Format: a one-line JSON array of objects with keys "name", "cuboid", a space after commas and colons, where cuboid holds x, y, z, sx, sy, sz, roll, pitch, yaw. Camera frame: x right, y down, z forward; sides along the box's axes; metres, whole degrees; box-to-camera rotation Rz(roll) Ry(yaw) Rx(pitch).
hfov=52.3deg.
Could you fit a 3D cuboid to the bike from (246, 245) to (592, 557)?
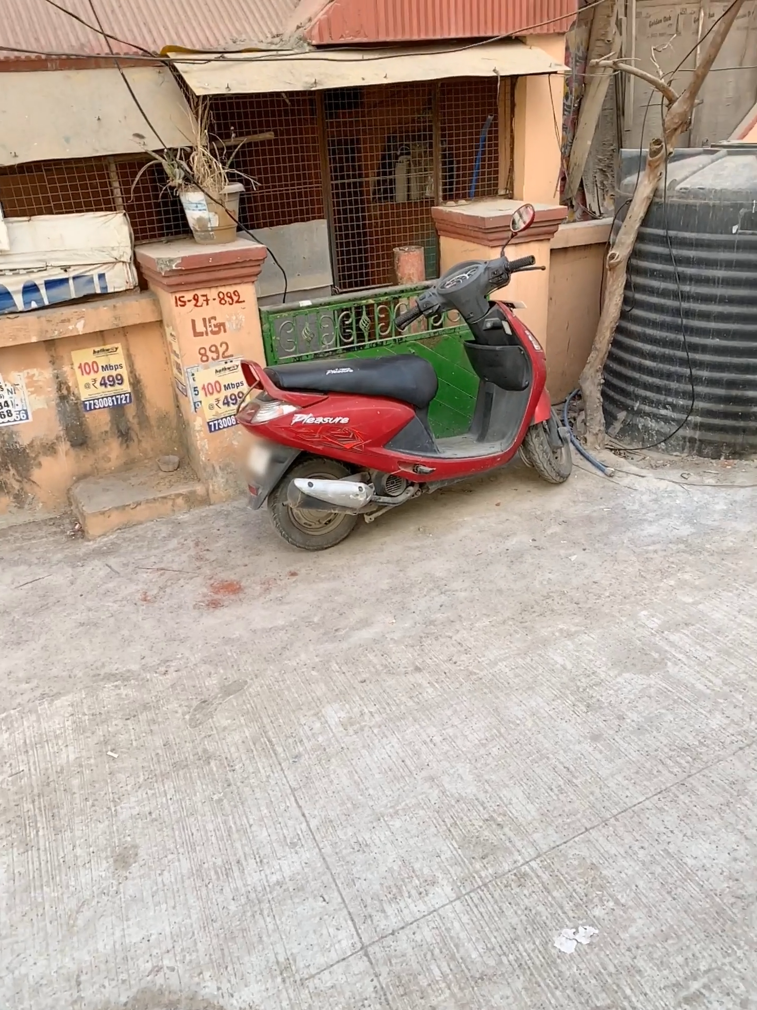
[{"name": "bike", "cuboid": [0.204, -0.507, 3.234, 1.273, 0.915, 0.620, -19, 30, -29]}]
